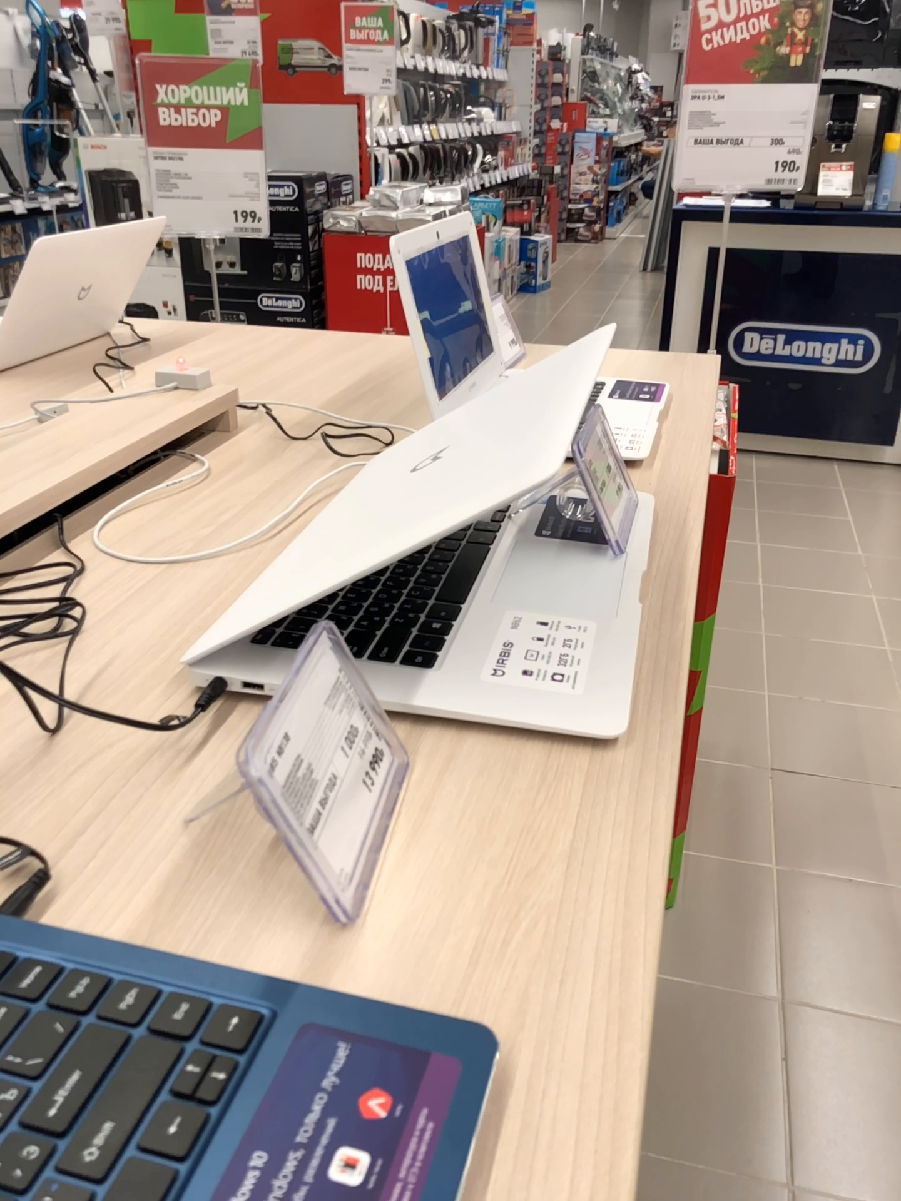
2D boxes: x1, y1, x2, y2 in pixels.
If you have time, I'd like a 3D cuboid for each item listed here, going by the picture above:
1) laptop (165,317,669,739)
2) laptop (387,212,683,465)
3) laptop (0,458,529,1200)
[{"bbox_3d":[0.014,-0.078,0.617,0.223,0.115,0.351,8,27,10],"label":"laptop"},{"bbox_3d":[0.091,-0.269,0.958,0.230,0.168,0.264,8,28,14],"label":"laptop"},{"bbox_3d":[-0.175,0.108,0.175,0.318,0.162,0.311,7,25,12],"label":"laptop"}]
